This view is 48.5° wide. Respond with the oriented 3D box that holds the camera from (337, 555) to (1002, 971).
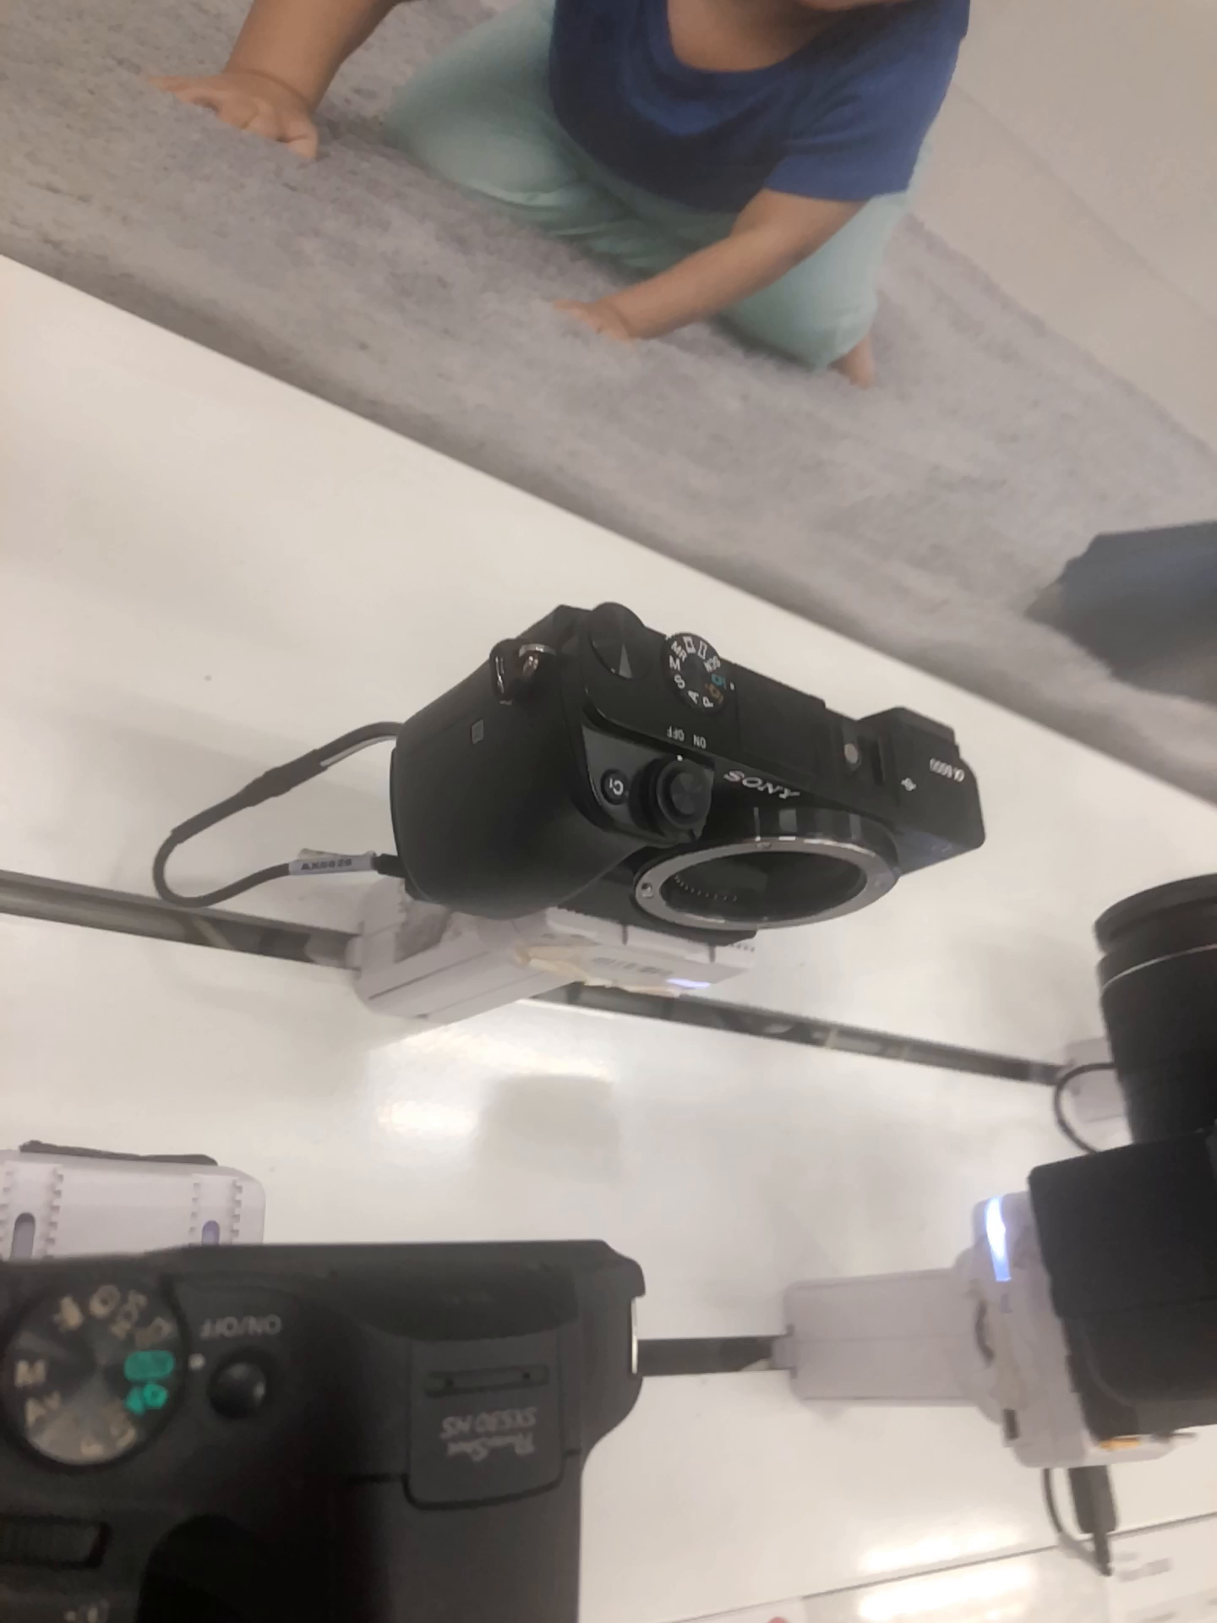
[{"bbox_3d":[0.014,-0.002,0.284,0.121,0.070,0.040,14,60,-39],"label":"camera"}]
